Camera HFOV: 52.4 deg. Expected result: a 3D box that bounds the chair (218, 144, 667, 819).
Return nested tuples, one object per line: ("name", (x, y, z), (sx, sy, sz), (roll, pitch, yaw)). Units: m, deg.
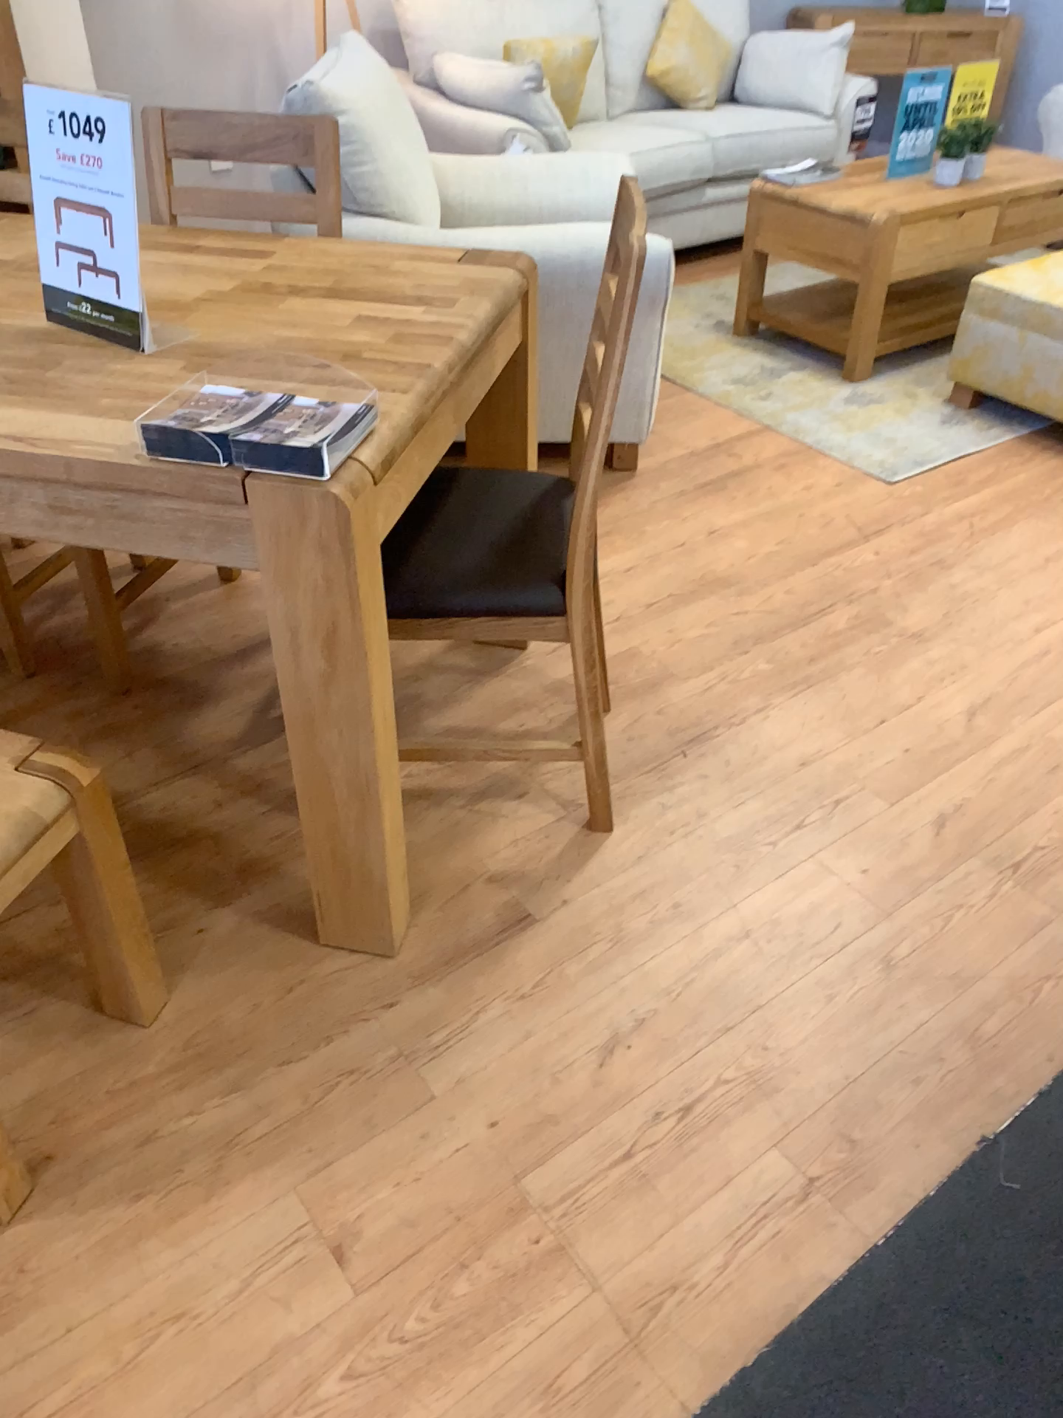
("chair", (-0.094, -0.324, 1.680), (0.517, 0.917, 0.425), (2, 37, 3))
